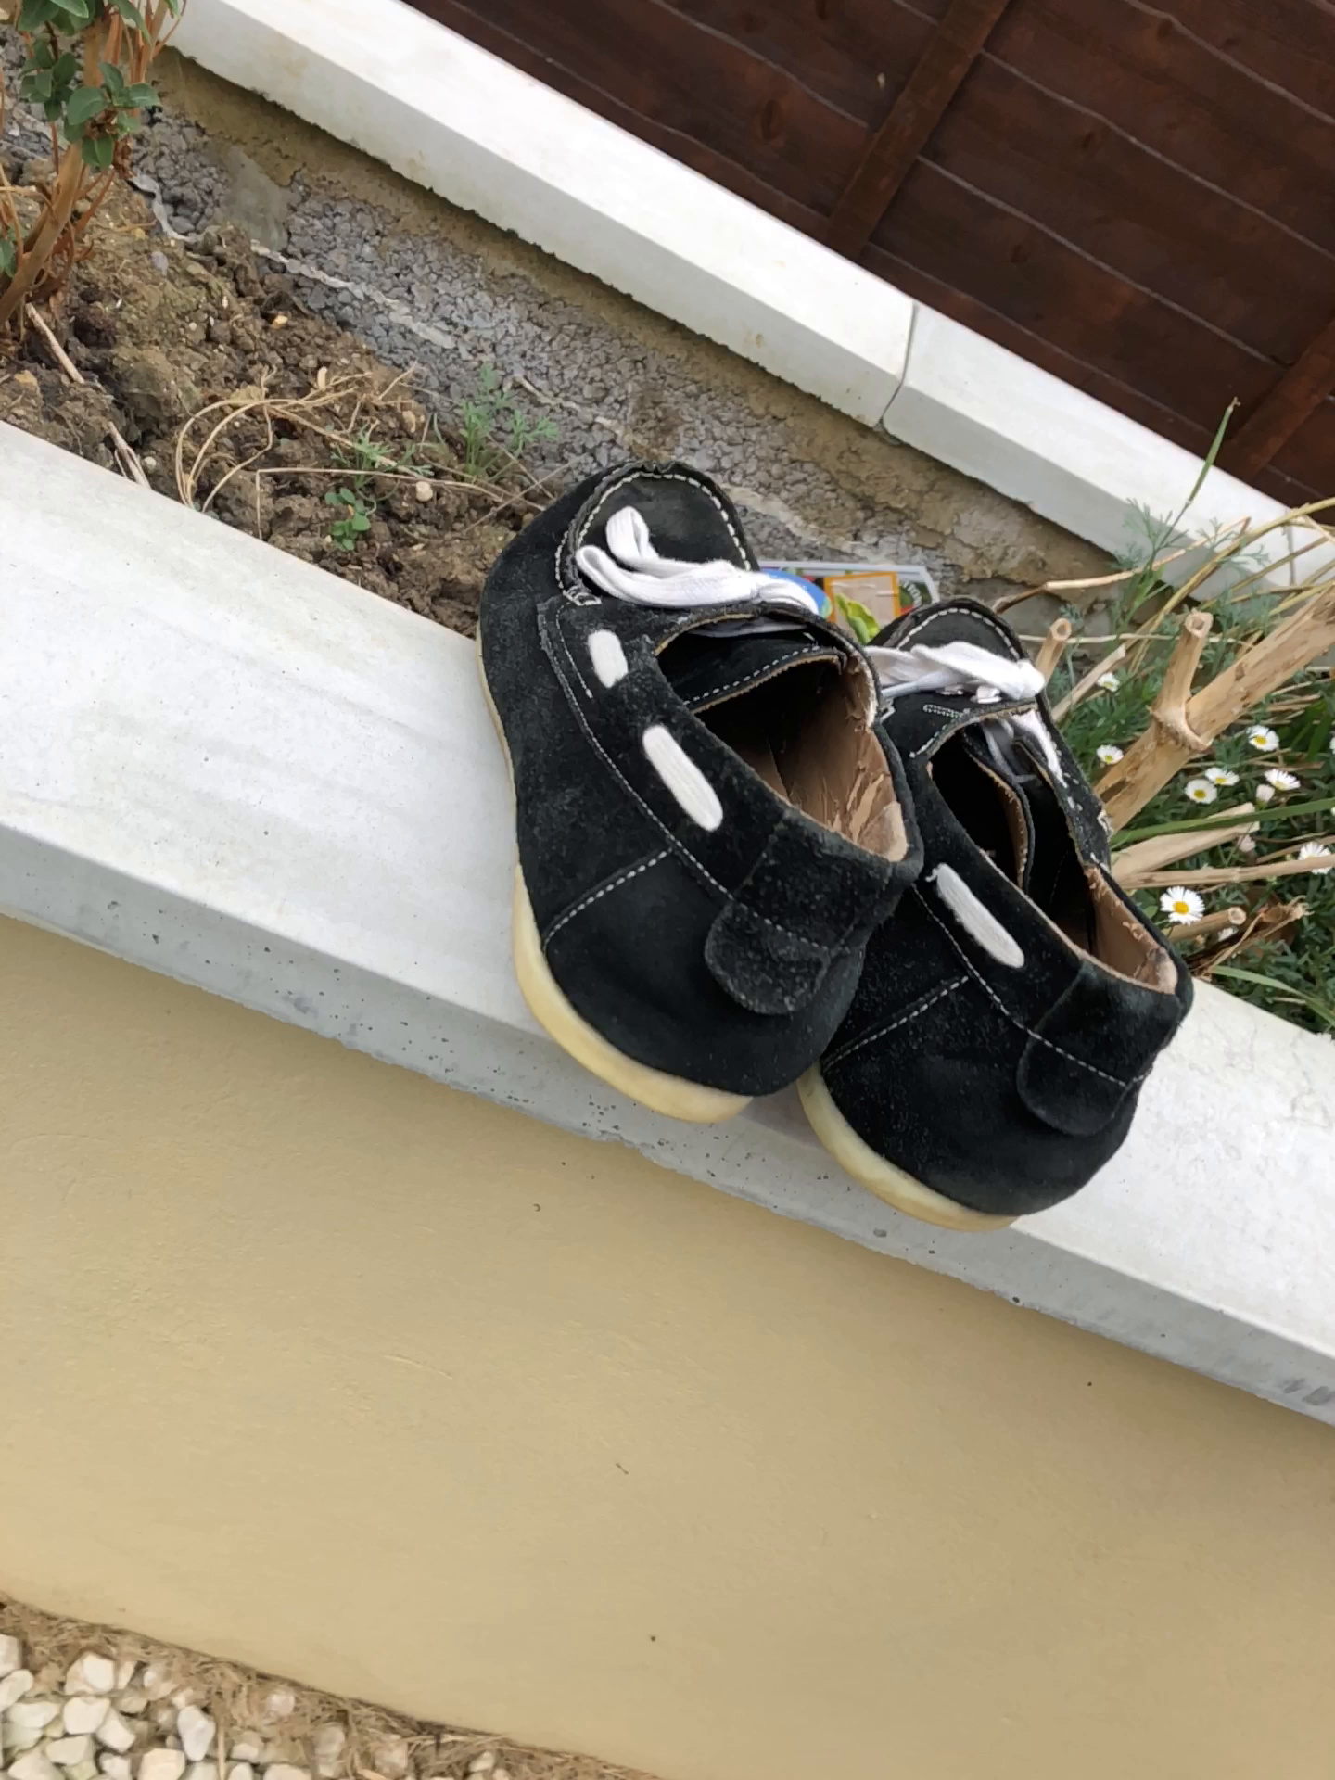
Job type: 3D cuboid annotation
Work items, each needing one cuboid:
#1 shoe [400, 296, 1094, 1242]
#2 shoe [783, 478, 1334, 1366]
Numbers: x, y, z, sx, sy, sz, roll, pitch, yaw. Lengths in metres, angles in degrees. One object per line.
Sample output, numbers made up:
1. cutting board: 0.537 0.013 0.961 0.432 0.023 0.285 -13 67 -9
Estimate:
1. shoe: 0.007 -0.062 0.436 0.120 0.089 0.312 19 34 -18
2. shoe: 0.113 -0.018 0.464 0.110 0.089 0.302 27 32 -10
